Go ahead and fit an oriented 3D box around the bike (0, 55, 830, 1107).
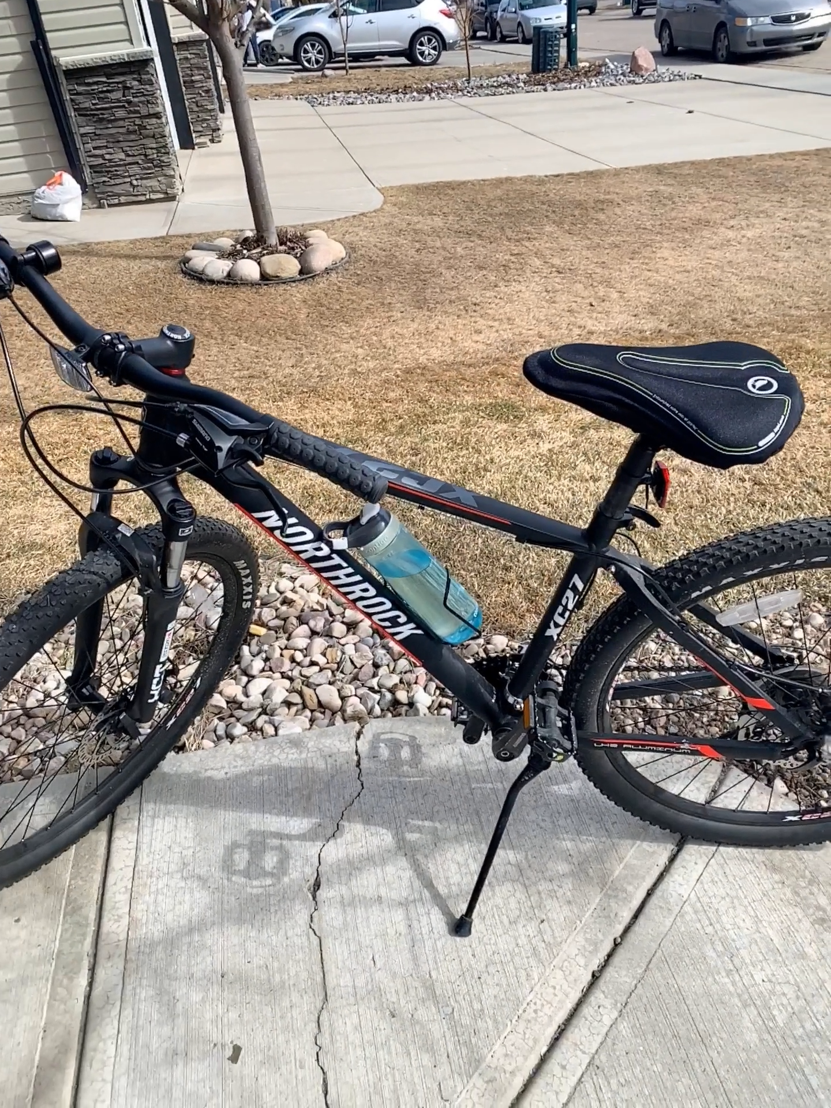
[{"bbox_3d":[0.058,0.139,1.021,1.478,1.004,0.603,-7,32,4],"label":"bike"}]
